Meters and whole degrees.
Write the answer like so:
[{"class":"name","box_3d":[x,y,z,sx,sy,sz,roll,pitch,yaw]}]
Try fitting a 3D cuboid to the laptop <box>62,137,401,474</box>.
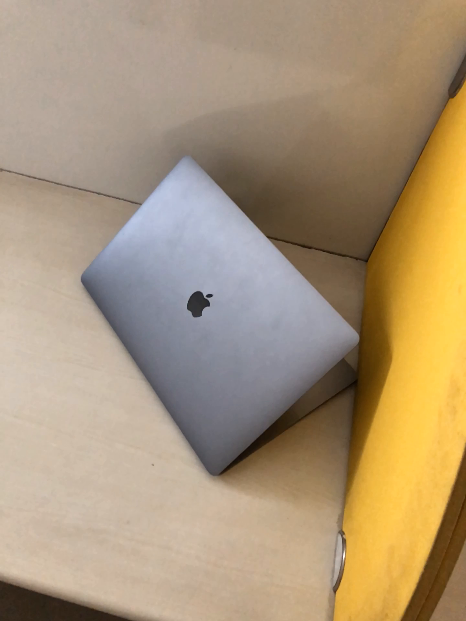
[{"class":"laptop","box_3d":[-0.017,-0.024,0.657,0.236,0.152,0.345,-29,65,-23]}]
